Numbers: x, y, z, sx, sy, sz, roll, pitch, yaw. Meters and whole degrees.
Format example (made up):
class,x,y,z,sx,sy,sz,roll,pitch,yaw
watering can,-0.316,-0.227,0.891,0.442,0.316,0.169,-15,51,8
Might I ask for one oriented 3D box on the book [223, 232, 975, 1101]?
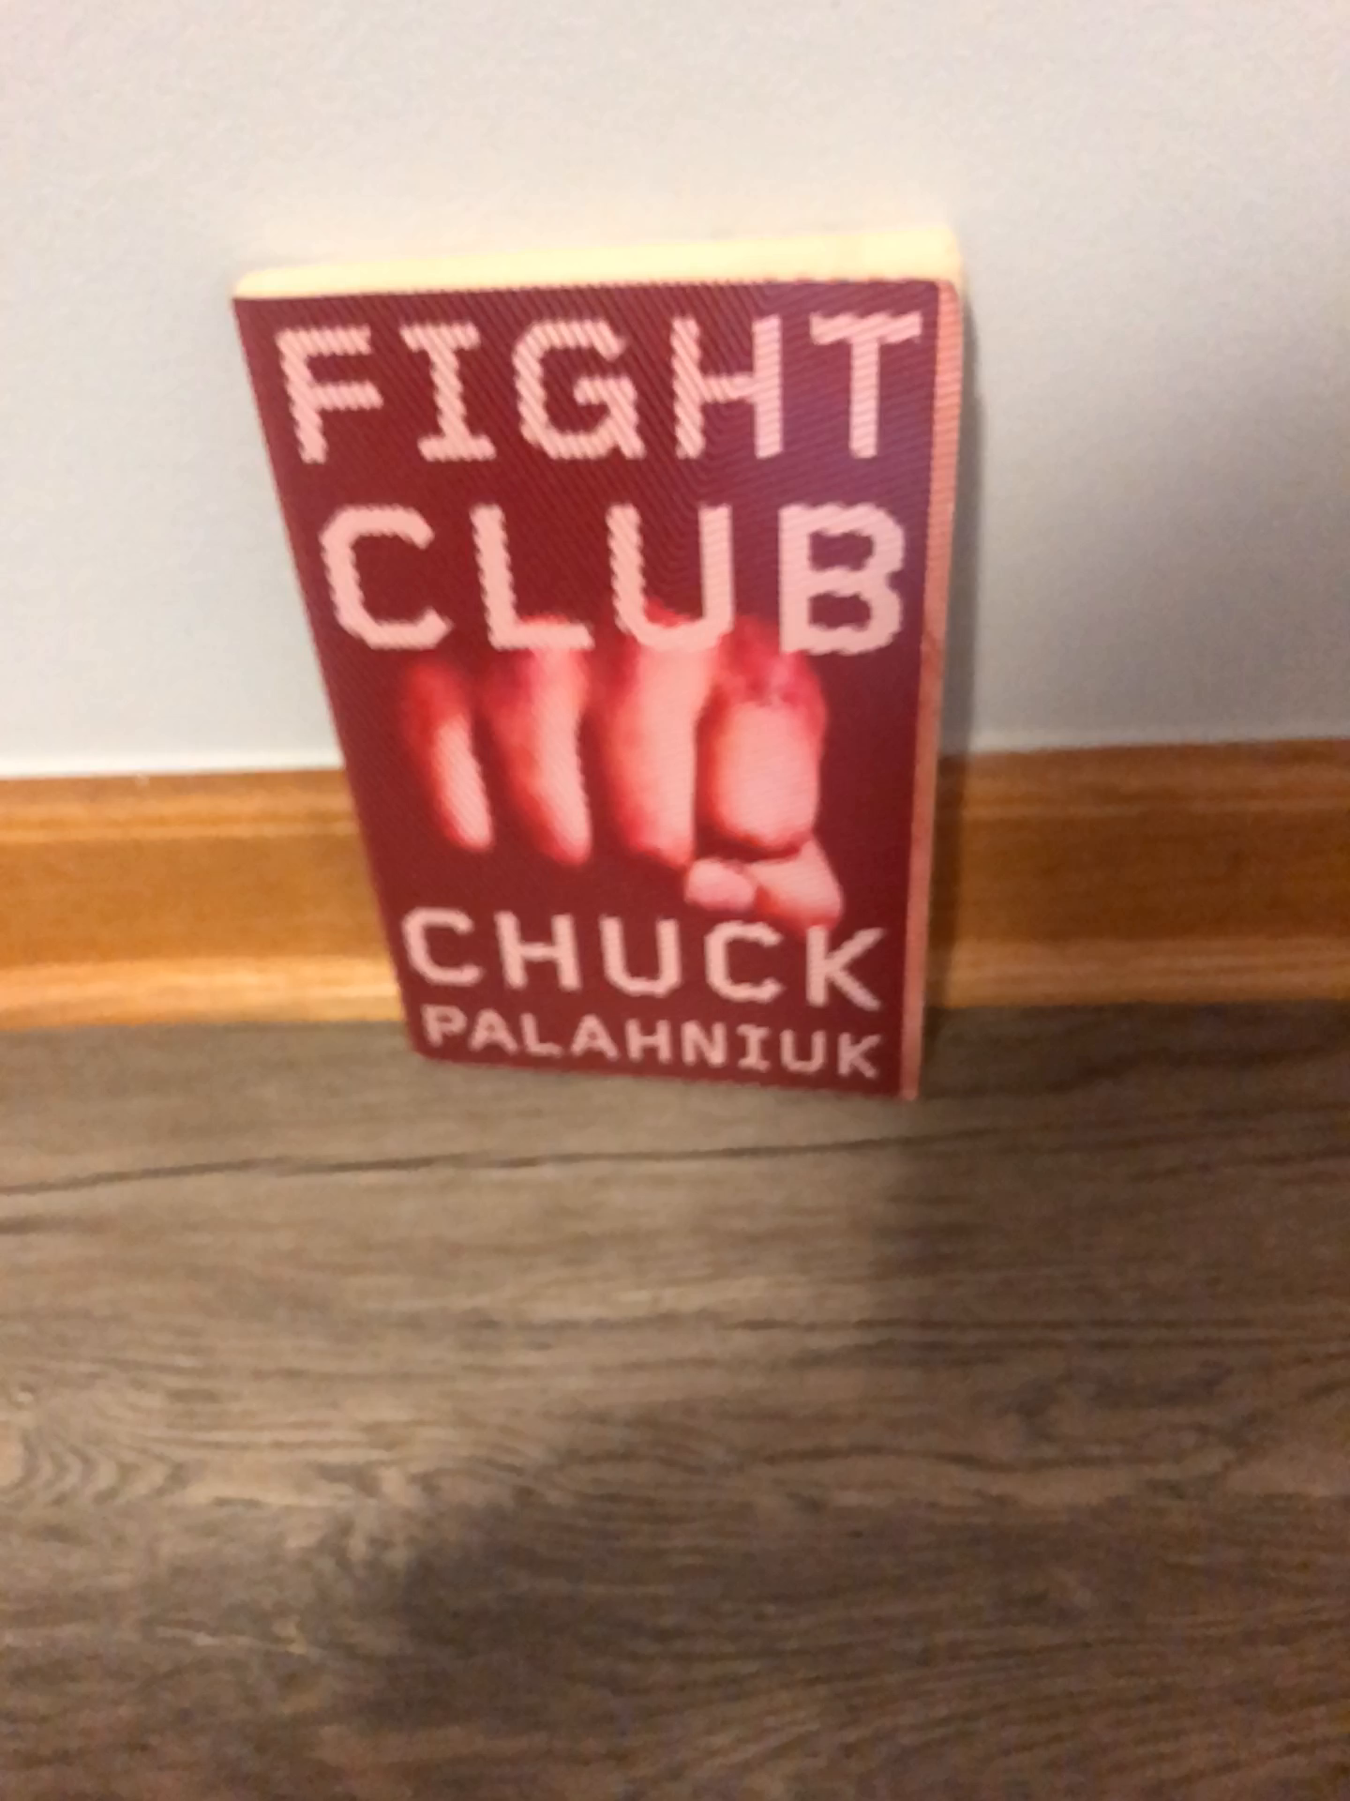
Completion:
class,x,y,z,sx,sy,sz,roll,pitch,yaw
book,-0.009,-0.040,0.354,0.138,0.210,0.030,3,40,7
